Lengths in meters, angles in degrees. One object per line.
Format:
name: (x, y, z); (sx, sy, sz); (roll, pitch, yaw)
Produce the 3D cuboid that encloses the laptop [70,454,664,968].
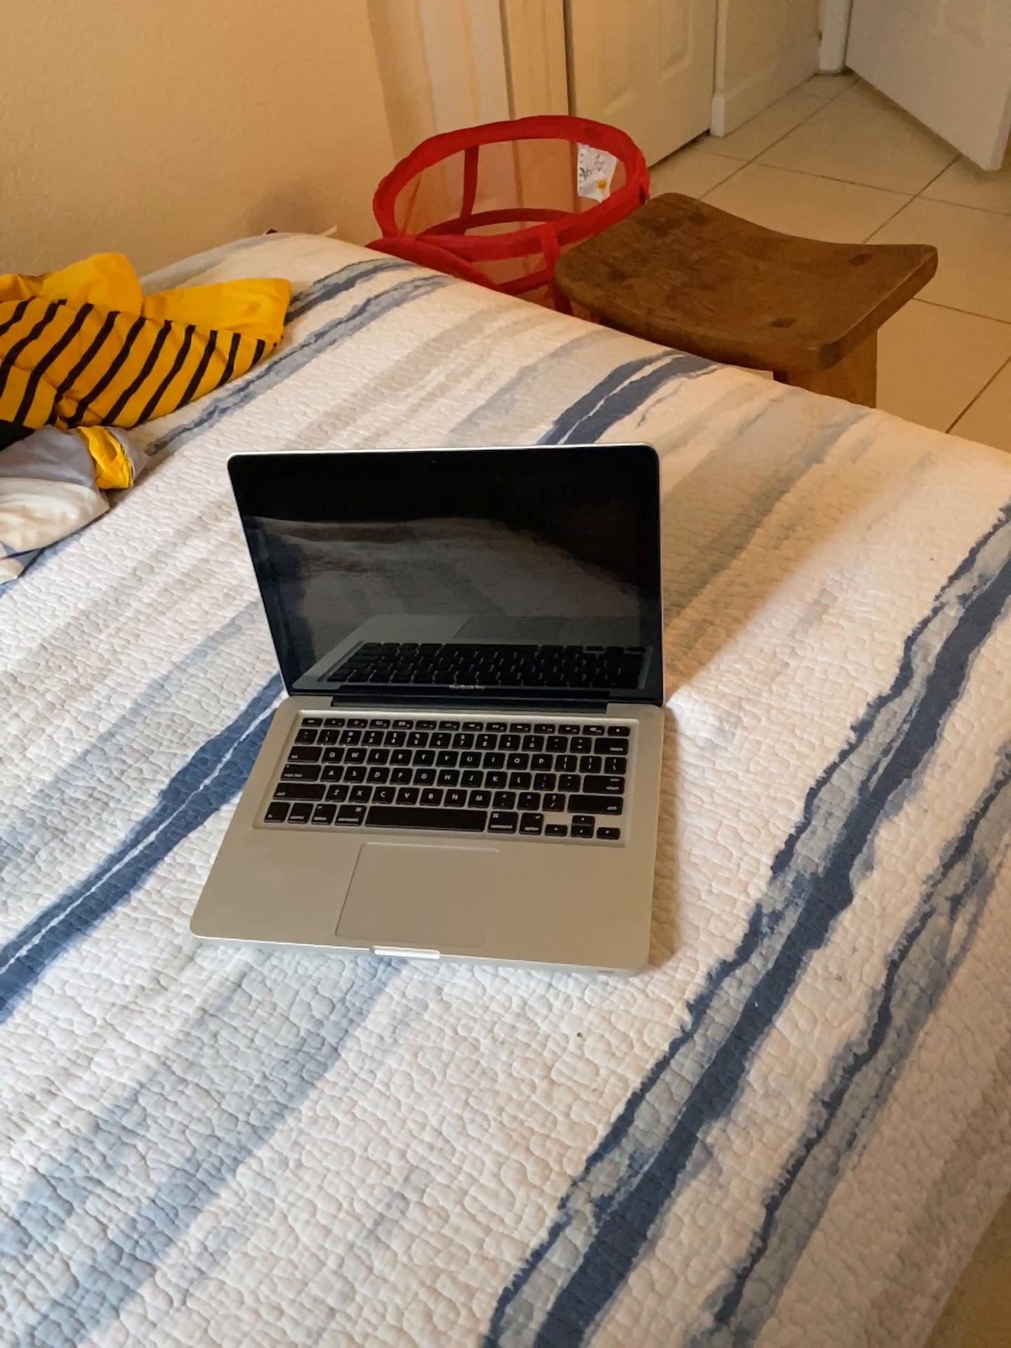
laptop: (-0.056, 0.015, 0.709); (0.318, 0.199, 0.279); (1, 47, 11)
